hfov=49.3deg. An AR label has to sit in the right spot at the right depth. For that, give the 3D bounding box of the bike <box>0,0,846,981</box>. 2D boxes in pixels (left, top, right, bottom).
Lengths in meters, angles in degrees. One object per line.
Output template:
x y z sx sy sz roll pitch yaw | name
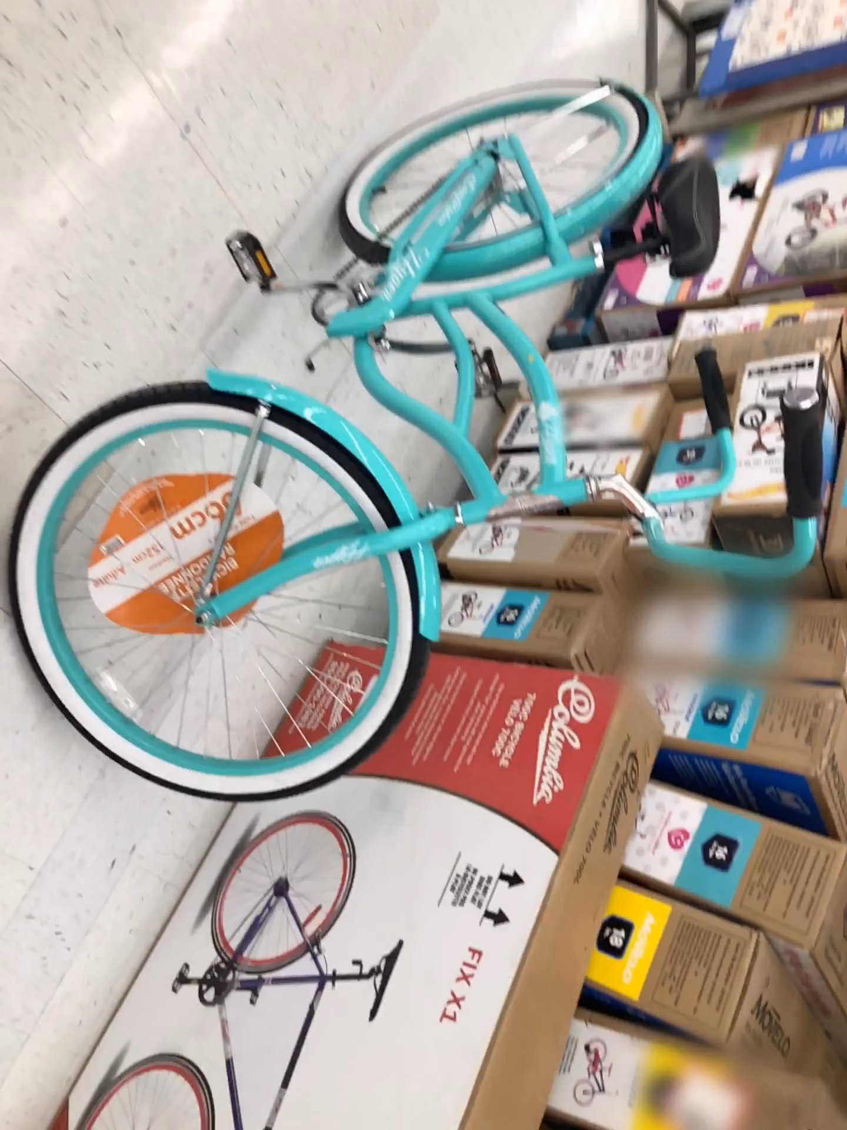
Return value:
0.244 -0.379 1.598 0.855 1.152 1.583 43 57 -46 | bike
